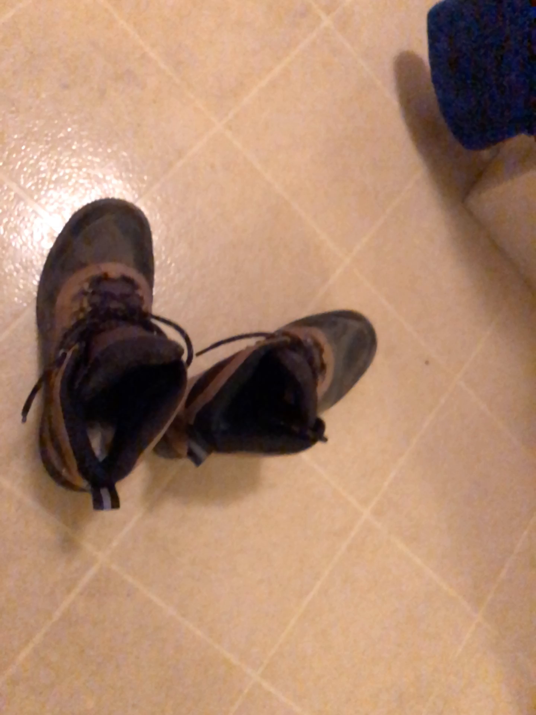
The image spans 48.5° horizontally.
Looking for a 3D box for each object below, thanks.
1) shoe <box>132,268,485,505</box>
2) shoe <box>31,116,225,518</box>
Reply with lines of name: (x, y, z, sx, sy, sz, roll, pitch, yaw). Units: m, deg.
shoe: (0.035, 0.022, 0.614, 0.293, 0.186, 0.113, -22, 94, -23)
shoe: (-0.136, -0.023, 0.545, 0.122, 0.186, 0.299, 5, 83, -23)
